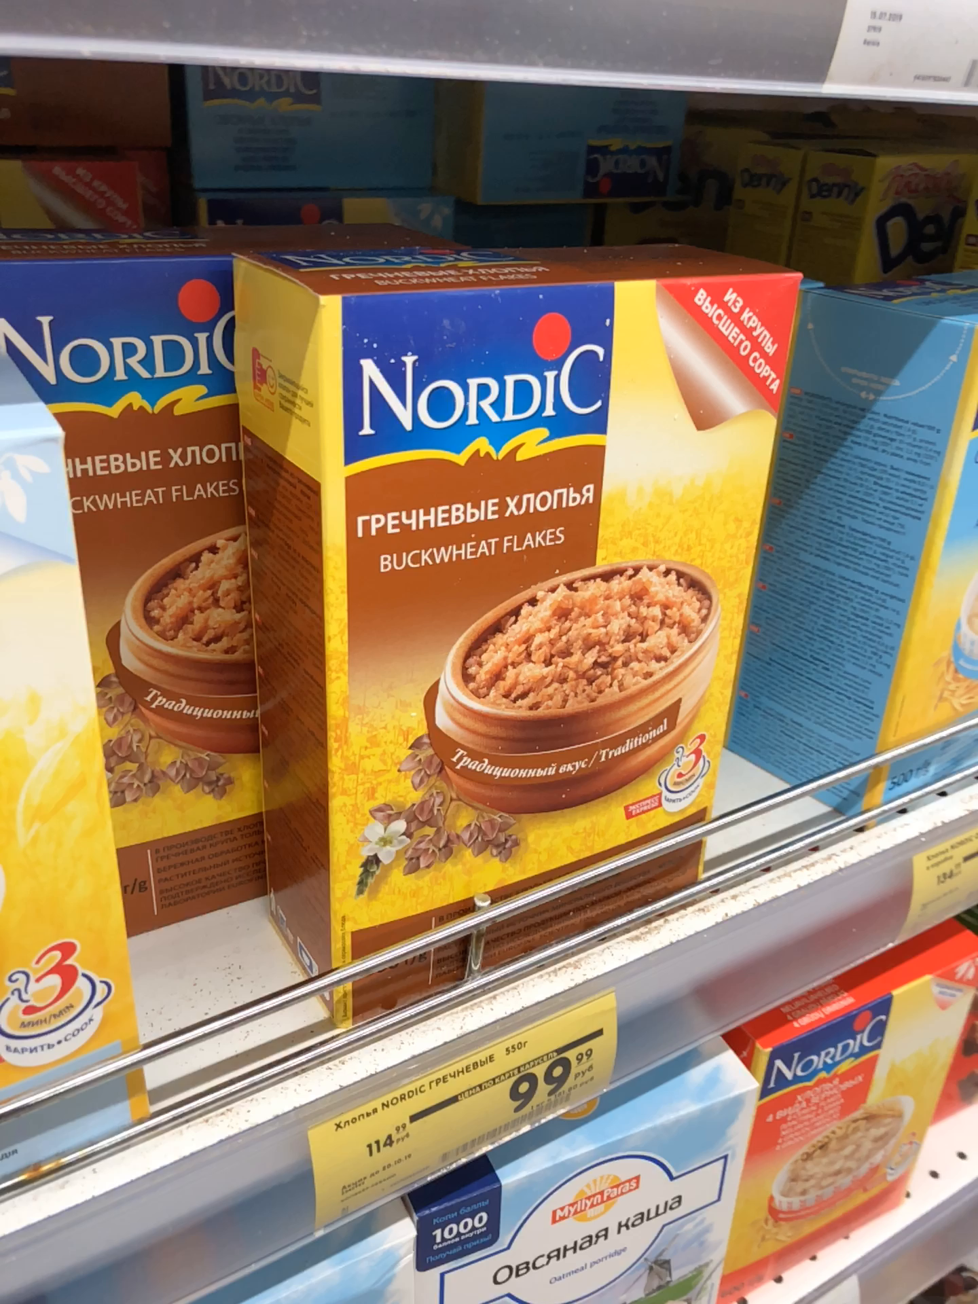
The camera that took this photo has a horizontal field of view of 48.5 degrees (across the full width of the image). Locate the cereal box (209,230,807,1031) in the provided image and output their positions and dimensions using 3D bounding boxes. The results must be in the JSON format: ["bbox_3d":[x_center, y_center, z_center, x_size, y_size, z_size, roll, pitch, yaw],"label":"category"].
[{"bbox_3d":[0.003,-0.011,0.330,0.140,0.209,0.070,-13,31,-28],"label":"cereal box"}]
